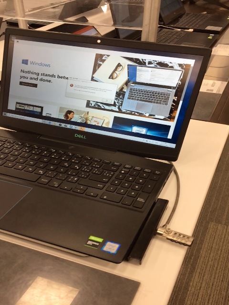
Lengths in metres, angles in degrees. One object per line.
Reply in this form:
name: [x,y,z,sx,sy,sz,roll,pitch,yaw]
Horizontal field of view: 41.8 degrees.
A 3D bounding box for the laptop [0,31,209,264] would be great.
laptop: [-0.110,-0.055,0.519,0.414,0.198,0.362,14,40,17]
